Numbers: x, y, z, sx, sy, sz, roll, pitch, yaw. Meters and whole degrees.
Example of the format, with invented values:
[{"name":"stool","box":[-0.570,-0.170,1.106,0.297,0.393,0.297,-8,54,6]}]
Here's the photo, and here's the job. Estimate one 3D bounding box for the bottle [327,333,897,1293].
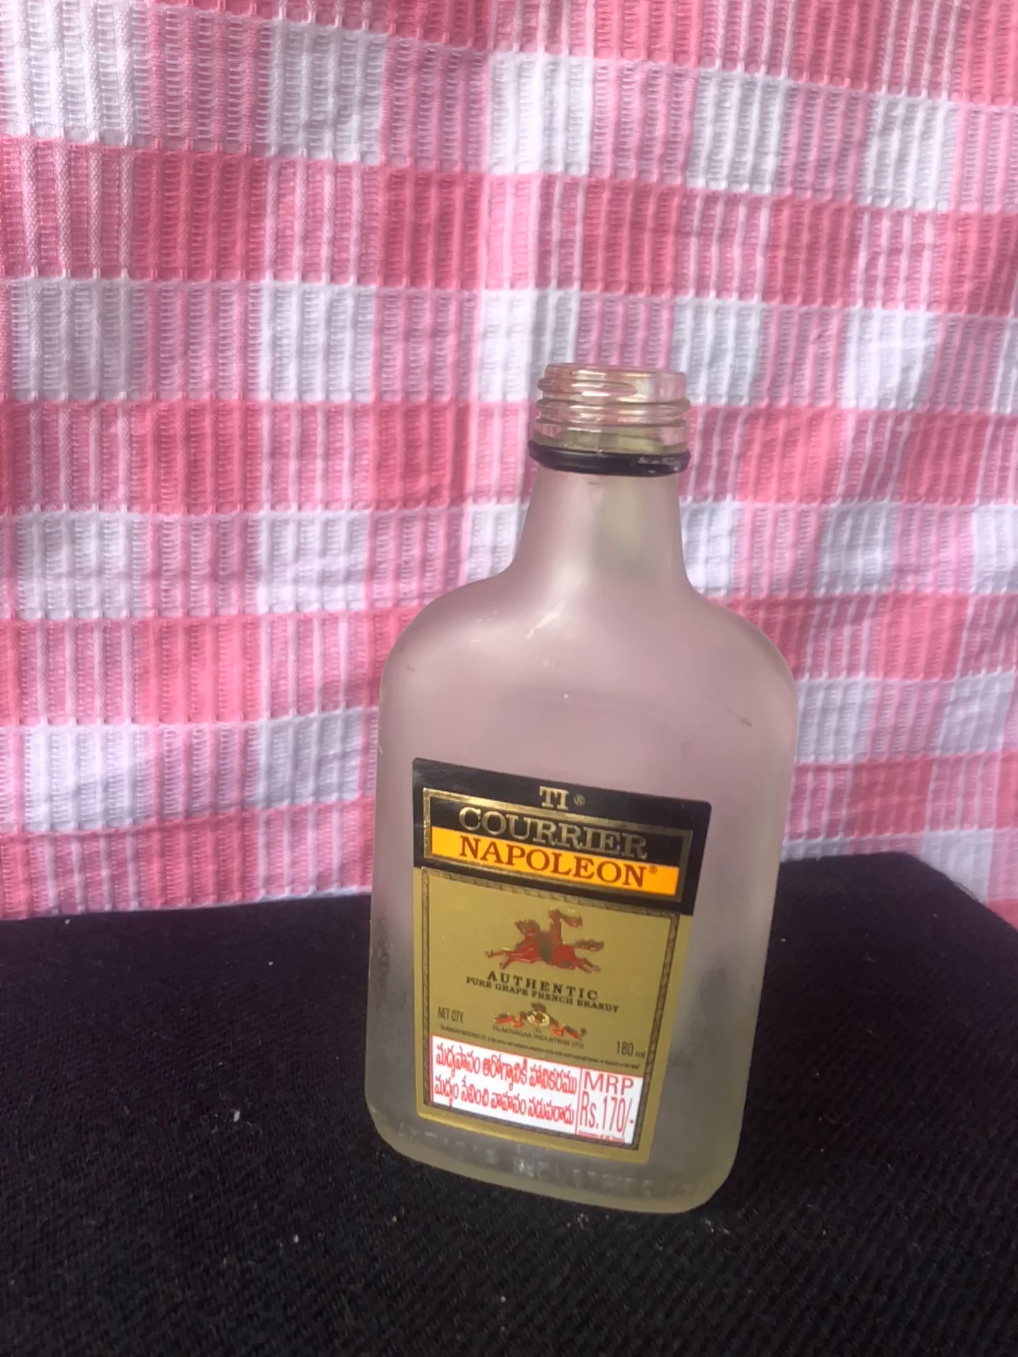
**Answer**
[{"name":"bottle","box":[0.013,0.022,0.195,0.070,0.149,0.040,9,18,9]}]
